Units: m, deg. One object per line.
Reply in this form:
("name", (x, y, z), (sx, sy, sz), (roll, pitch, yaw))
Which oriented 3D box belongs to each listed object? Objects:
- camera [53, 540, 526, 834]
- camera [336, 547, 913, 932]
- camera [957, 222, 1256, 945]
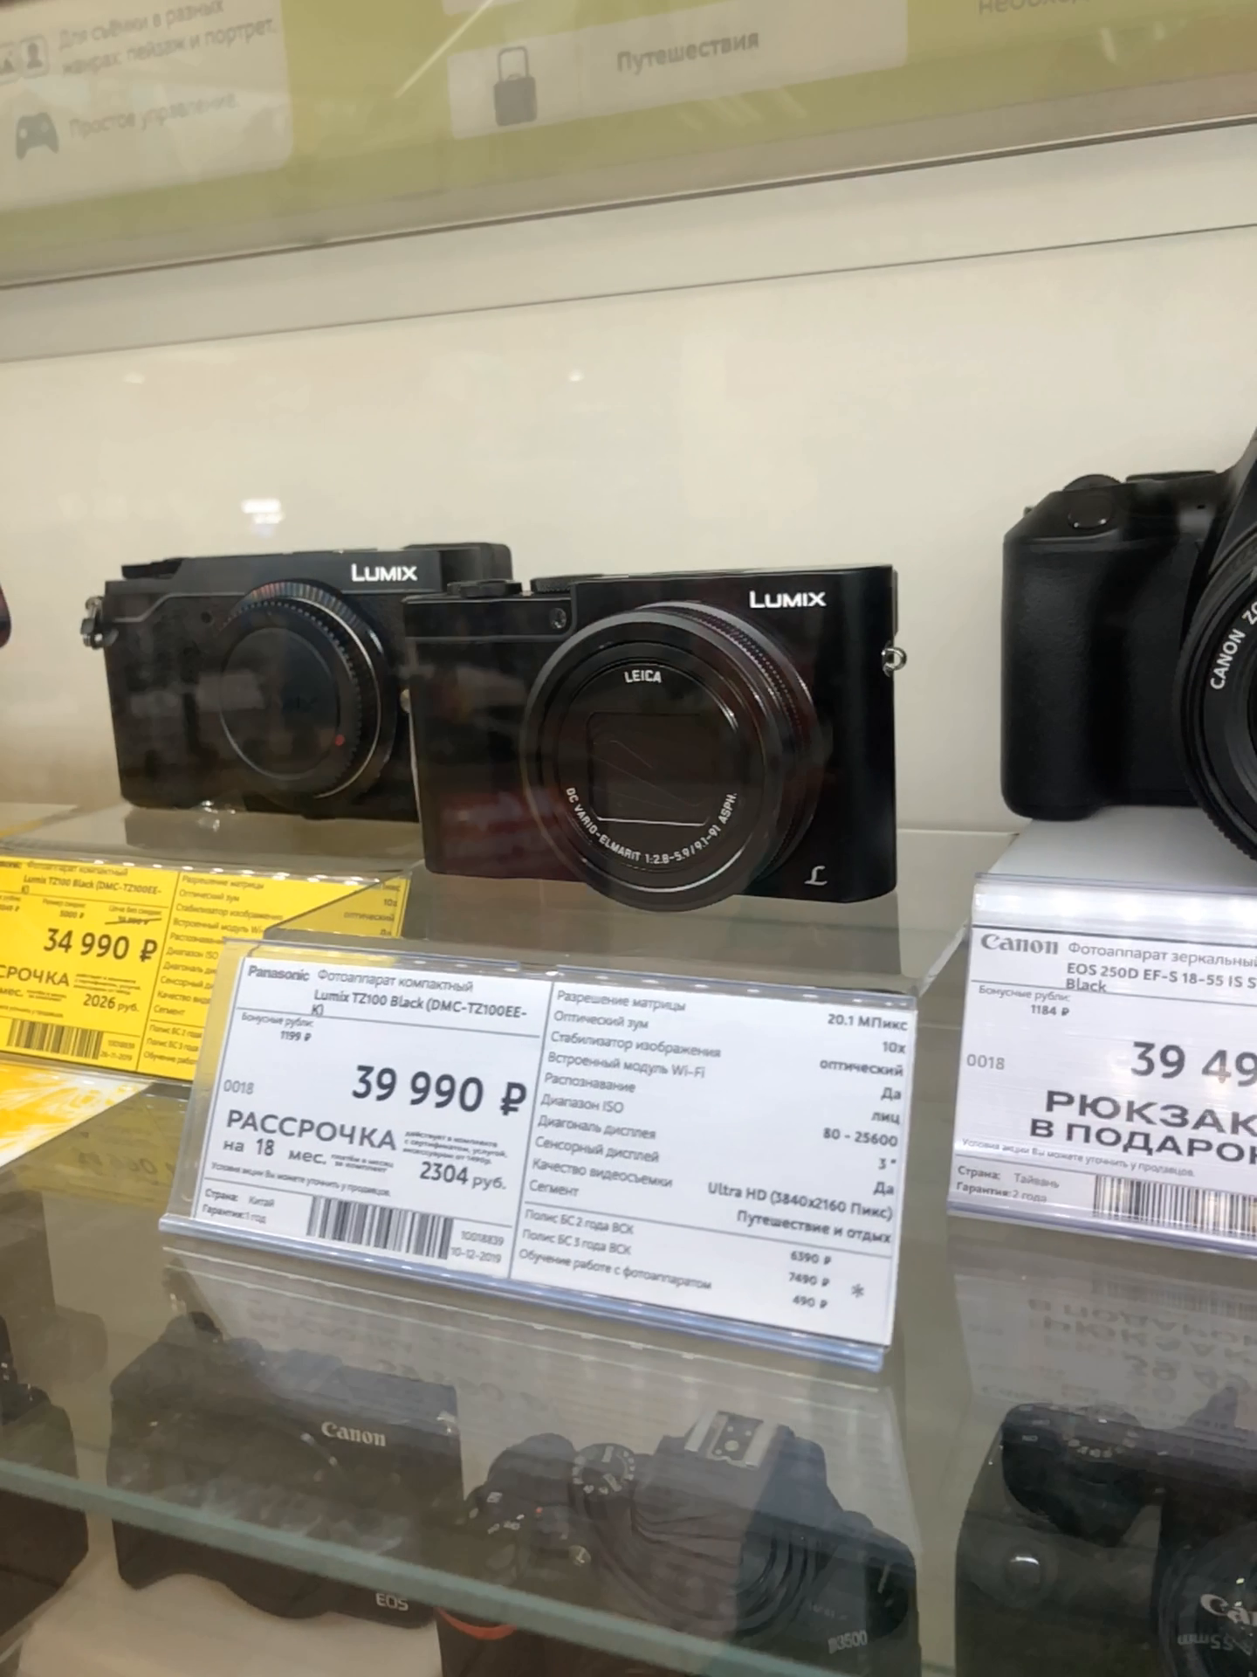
("camera", (-0.091, -0.043, 0.381), (0.108, 0.068, 0.055), (3, 14, 24))
("camera", (-0.001, -0.023, 0.291), (0.111, 0.068, 0.038), (3, 14, 24))
("camera", (0.166, -0.057, 0.298), (0.157, 0.099, 0.164), (3, 16, 24))
